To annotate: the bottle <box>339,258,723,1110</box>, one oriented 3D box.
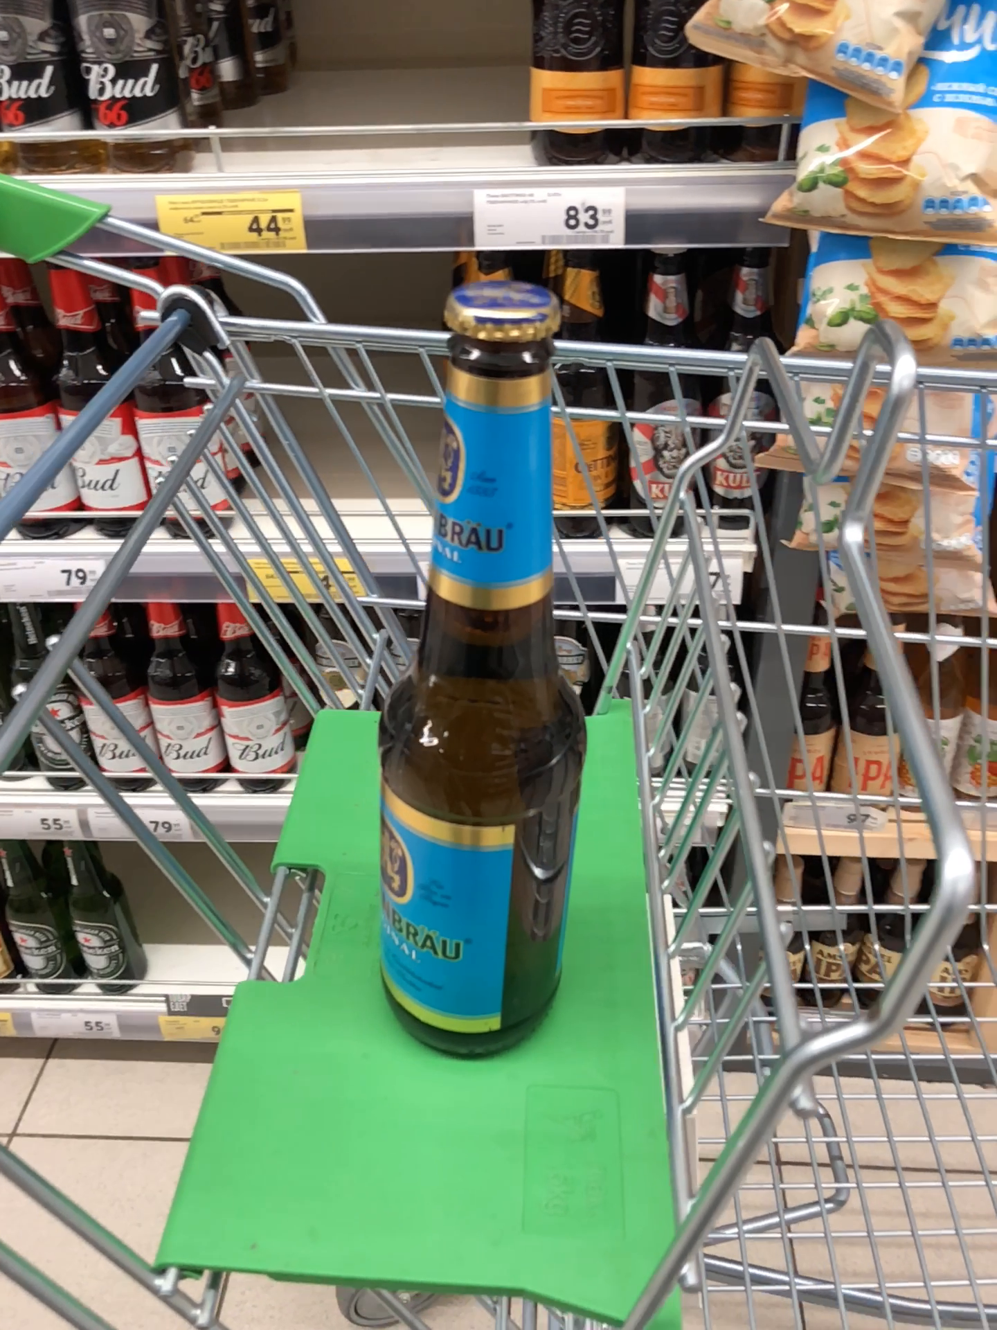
[{"bbox_3d":[0.000,0.017,0.333,0.070,0.249,0.080,-9,35,-16],"label":"bottle"}]
